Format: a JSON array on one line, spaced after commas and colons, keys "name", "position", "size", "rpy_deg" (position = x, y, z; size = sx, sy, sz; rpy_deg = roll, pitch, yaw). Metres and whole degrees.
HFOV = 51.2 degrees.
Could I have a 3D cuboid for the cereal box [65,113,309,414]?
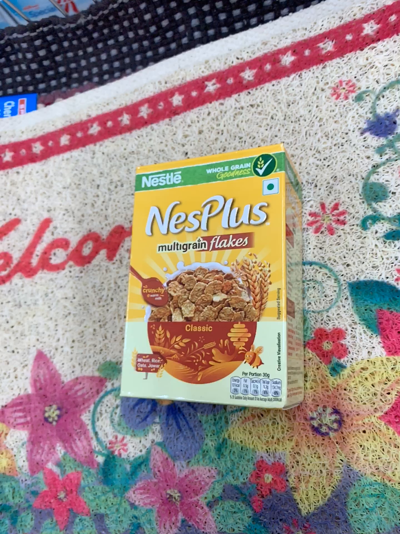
[{"name": "cereal box", "position": [-0.007, 0.001, 0.247], "size": [0.130, 0.040, 0.150], "rpy_deg": [-4, 75, 25]}]
